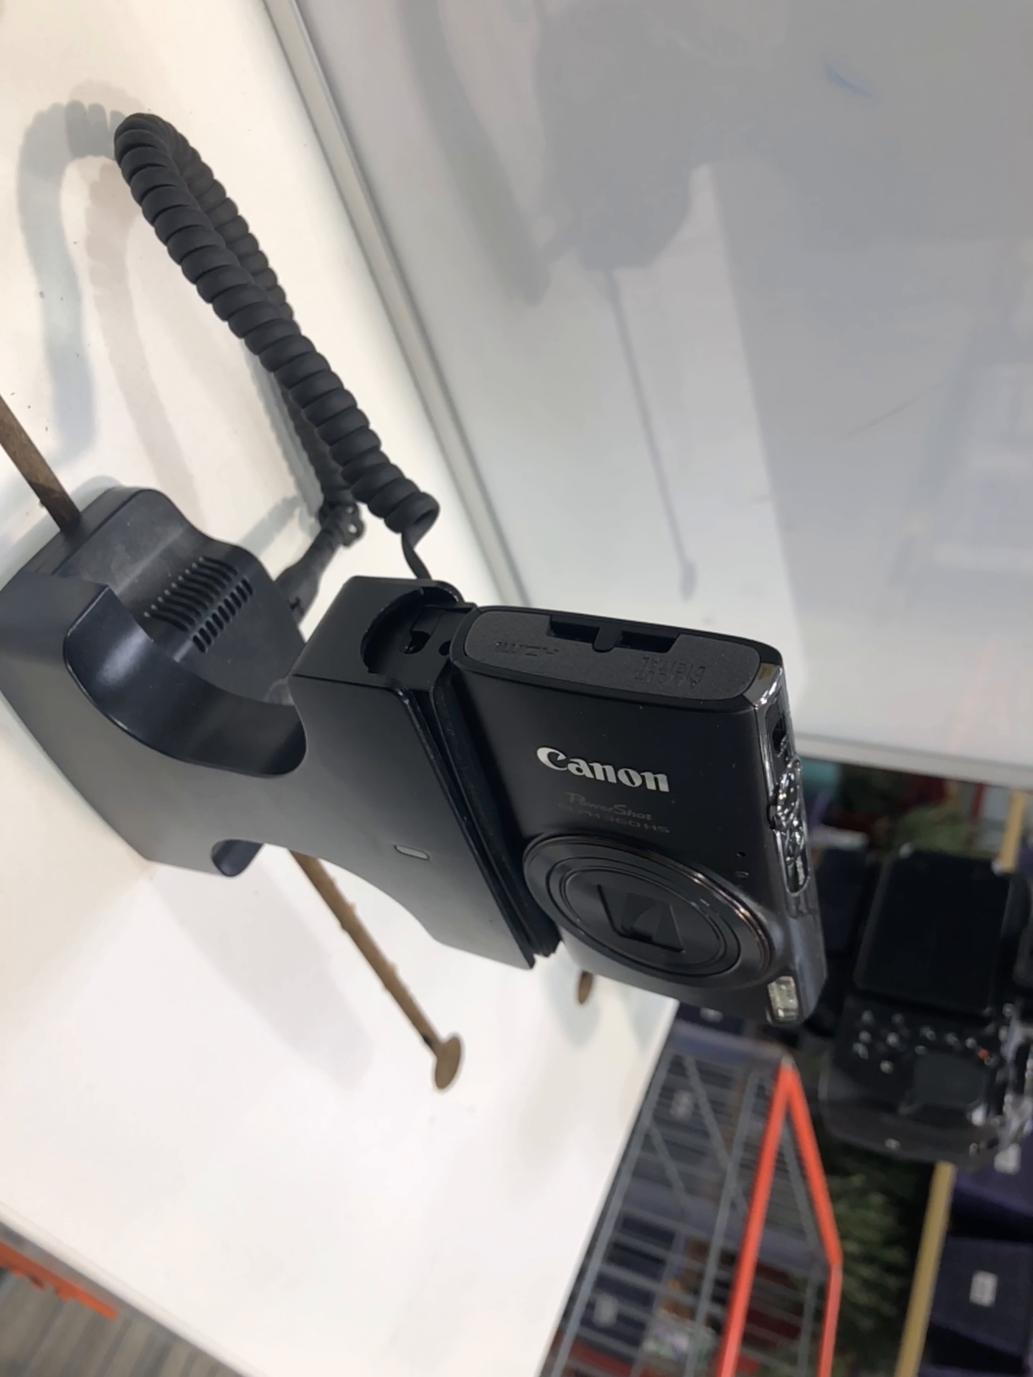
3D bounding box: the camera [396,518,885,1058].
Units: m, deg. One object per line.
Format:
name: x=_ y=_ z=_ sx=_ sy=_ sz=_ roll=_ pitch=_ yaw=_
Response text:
camera: x=0.030 y=0.022 z=0.227 sx=0.030 sy=0.070 sz=0.110 roll=-59 pitch=144 yaw=-36
